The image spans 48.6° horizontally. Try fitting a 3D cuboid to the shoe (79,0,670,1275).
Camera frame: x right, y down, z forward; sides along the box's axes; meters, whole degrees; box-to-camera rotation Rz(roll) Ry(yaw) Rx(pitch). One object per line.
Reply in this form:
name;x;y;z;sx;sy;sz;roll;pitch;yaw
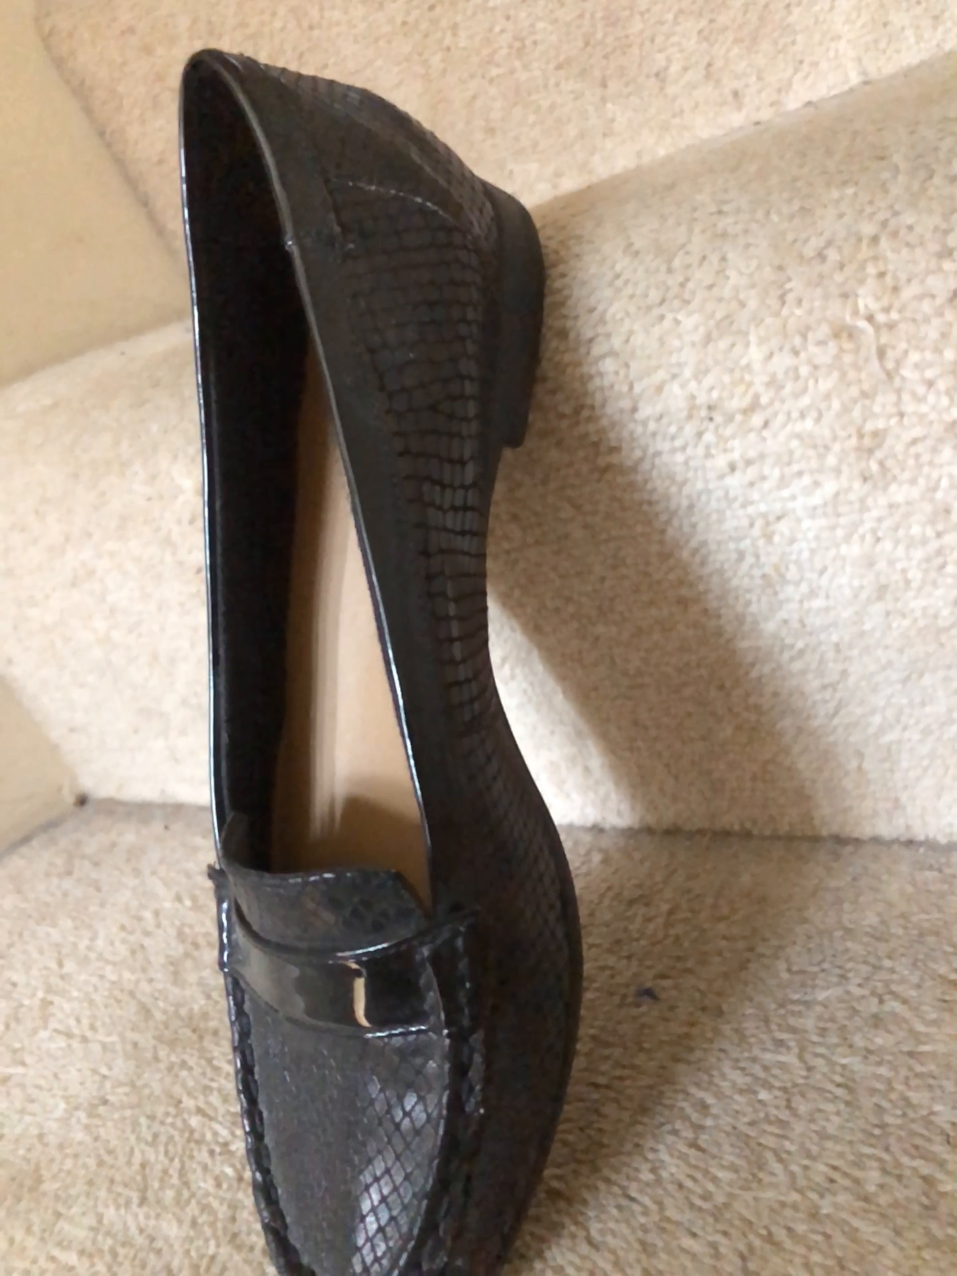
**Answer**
shoe;-0.022;0.010;0.234;0.090;0.260;0.070;-4;-1;32
